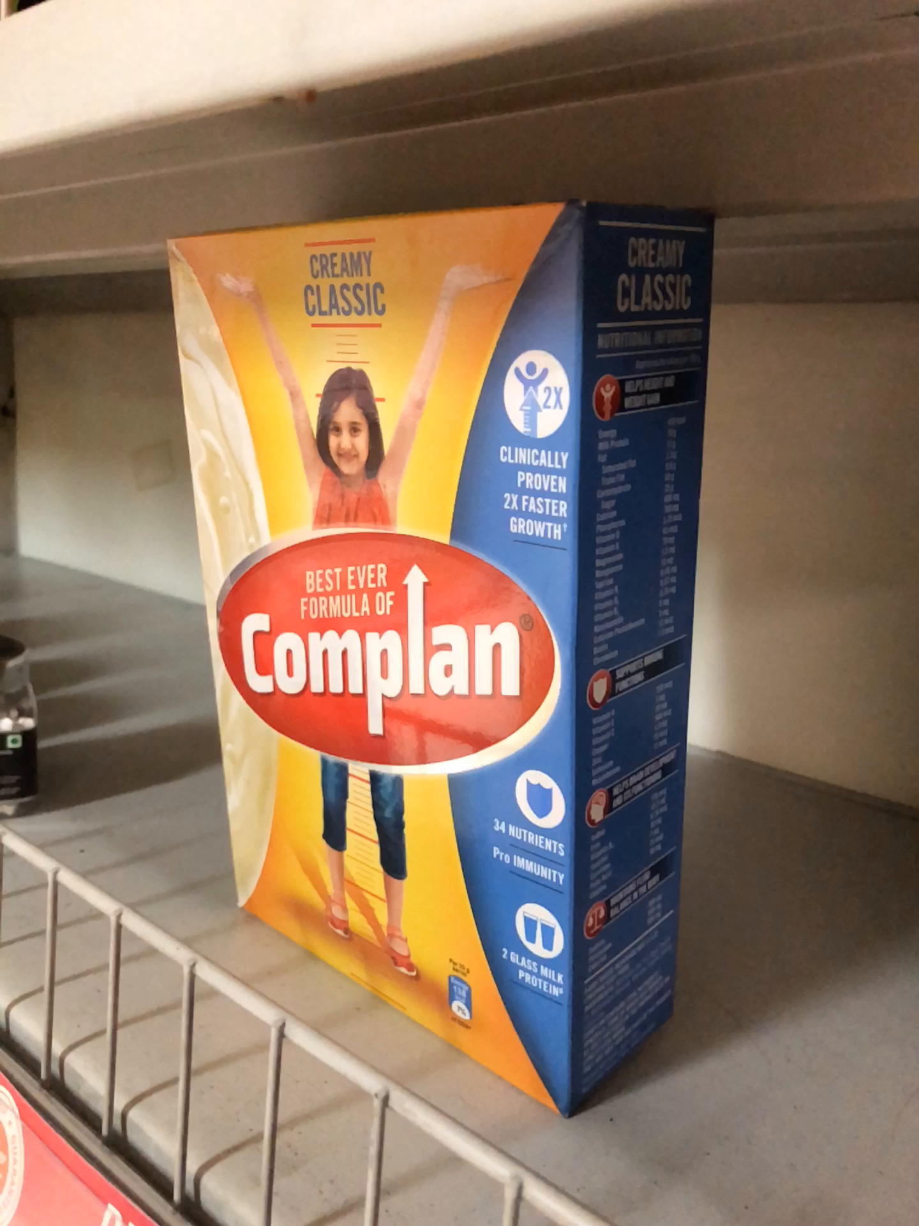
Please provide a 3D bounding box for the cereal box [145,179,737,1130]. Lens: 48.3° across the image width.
[{"bbox_3d":[-0.013,0.002,0.273,0.150,0.199,0.050,13,20,41],"label":"cereal box"}]
